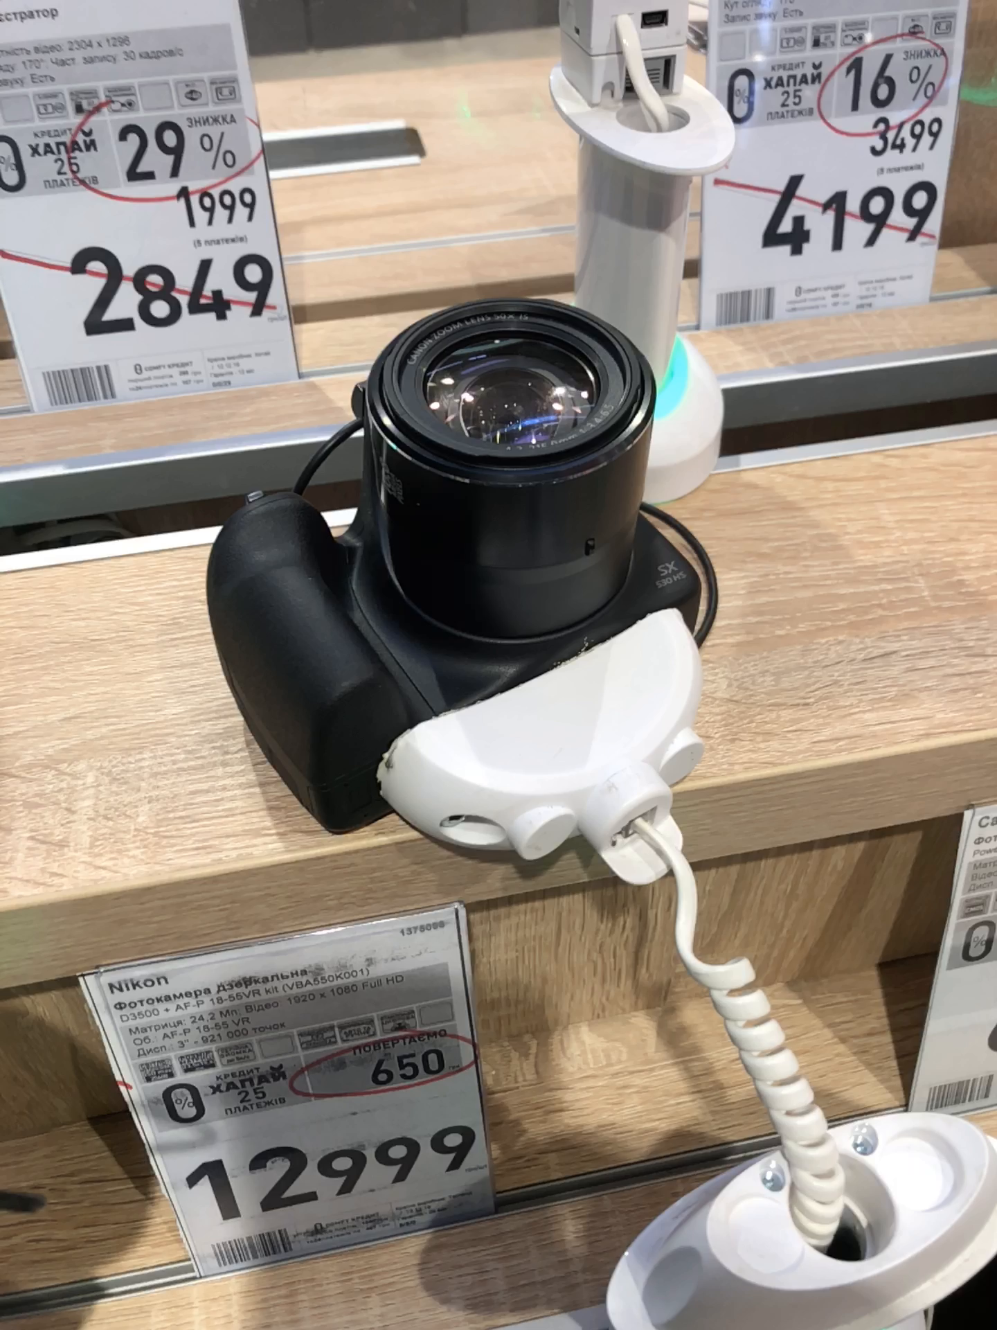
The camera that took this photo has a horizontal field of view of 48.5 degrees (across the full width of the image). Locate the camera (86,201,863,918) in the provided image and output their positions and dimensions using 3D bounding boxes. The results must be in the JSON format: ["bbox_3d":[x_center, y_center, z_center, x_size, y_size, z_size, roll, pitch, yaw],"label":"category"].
[{"bbox_3d":[-0.008,-0.032,0.277,0.134,0.090,0.107,-26,57,-21],"label":"camera"}]
